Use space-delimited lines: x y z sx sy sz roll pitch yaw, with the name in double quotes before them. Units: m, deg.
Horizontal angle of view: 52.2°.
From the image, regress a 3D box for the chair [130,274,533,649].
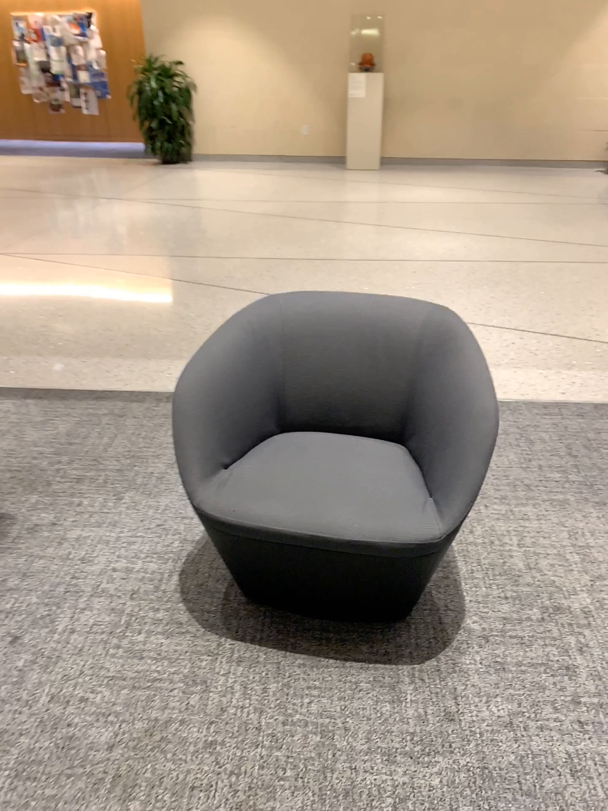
"chair" 0.088 0.092 1.620 0.778 0.659 0.636 5 29 9
